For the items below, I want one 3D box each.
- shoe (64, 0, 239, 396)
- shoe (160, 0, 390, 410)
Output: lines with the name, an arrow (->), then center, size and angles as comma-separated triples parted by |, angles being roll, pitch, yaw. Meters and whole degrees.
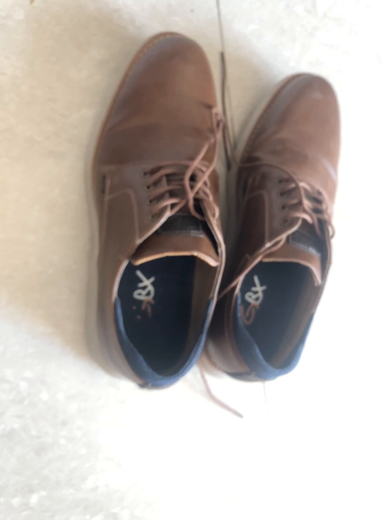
shoe -> -0.042, -0.055, 0.377 | 0.100, 0.100, 0.310 | 7, 86, -18
shoe -> 0.071, -0.044, 0.395 | 0.100, 0.100, 0.310 | 18, 83, -17
